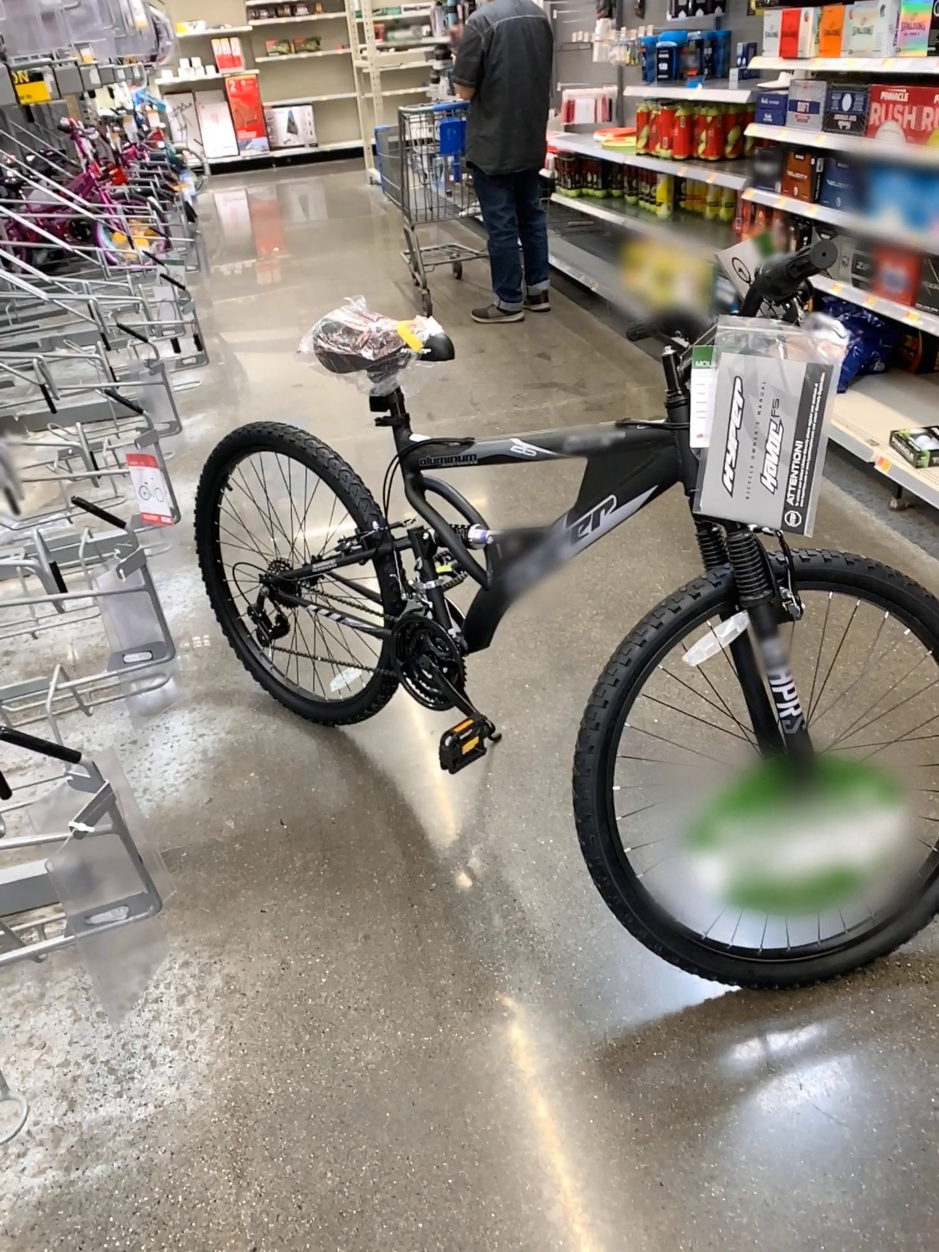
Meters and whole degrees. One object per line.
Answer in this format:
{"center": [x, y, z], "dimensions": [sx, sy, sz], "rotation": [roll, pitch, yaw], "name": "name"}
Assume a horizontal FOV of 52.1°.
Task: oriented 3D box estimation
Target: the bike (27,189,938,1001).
{"center": [0.154, -0.201, 1.929], "dimensions": [1.679, 1.089, 0.694], "rotation": [14, 36, 27], "name": "bike"}
